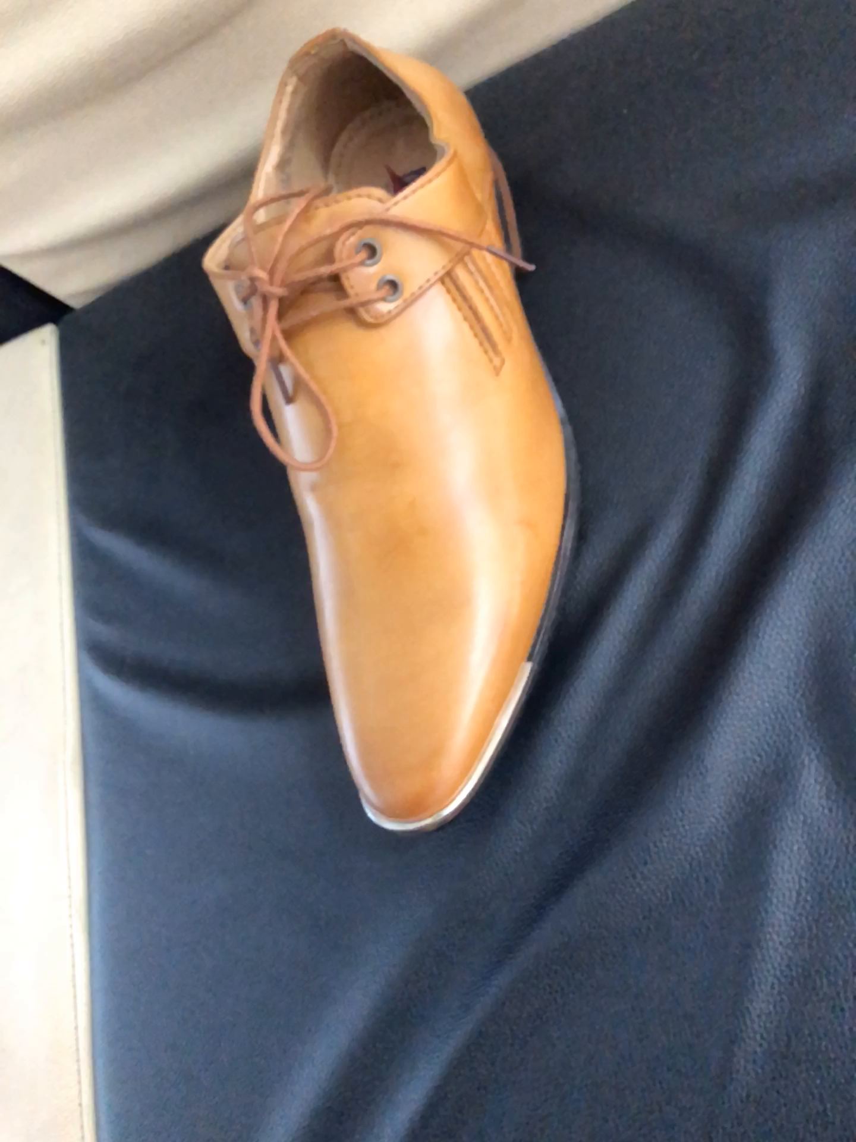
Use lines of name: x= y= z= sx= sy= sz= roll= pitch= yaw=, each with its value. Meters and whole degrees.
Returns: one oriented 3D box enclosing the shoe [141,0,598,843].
shoe: x=-0.019 y=-0.052 z=0.319 sx=0.110 sy=0.080 sz=0.270 roll=-9 pitch=73 yaw=25
